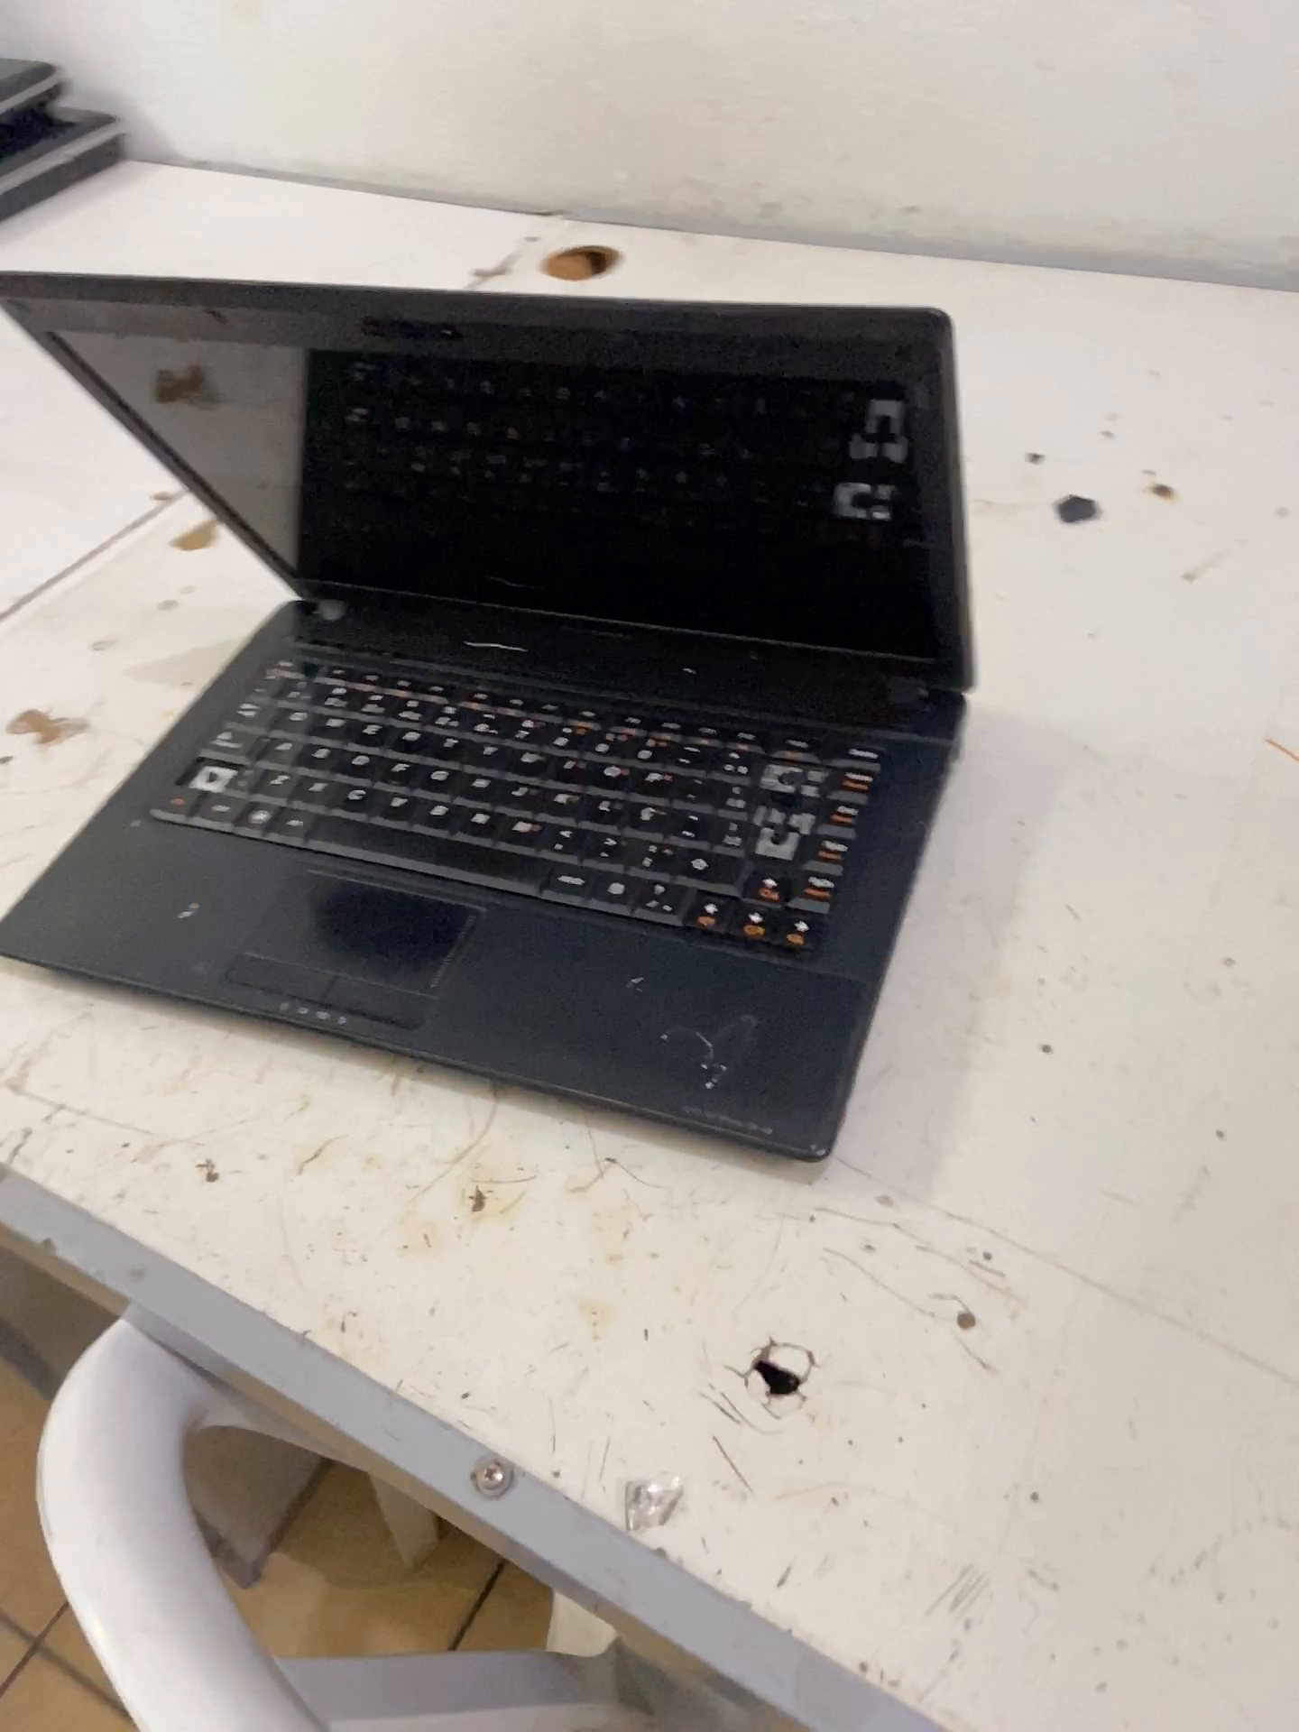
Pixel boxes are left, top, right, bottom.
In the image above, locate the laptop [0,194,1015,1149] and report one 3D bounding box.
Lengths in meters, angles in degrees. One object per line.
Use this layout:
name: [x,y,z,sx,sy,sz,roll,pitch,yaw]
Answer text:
laptop: [-0.071,-0.087,0.466,0.333,0.194,0.224,11,49,19]
